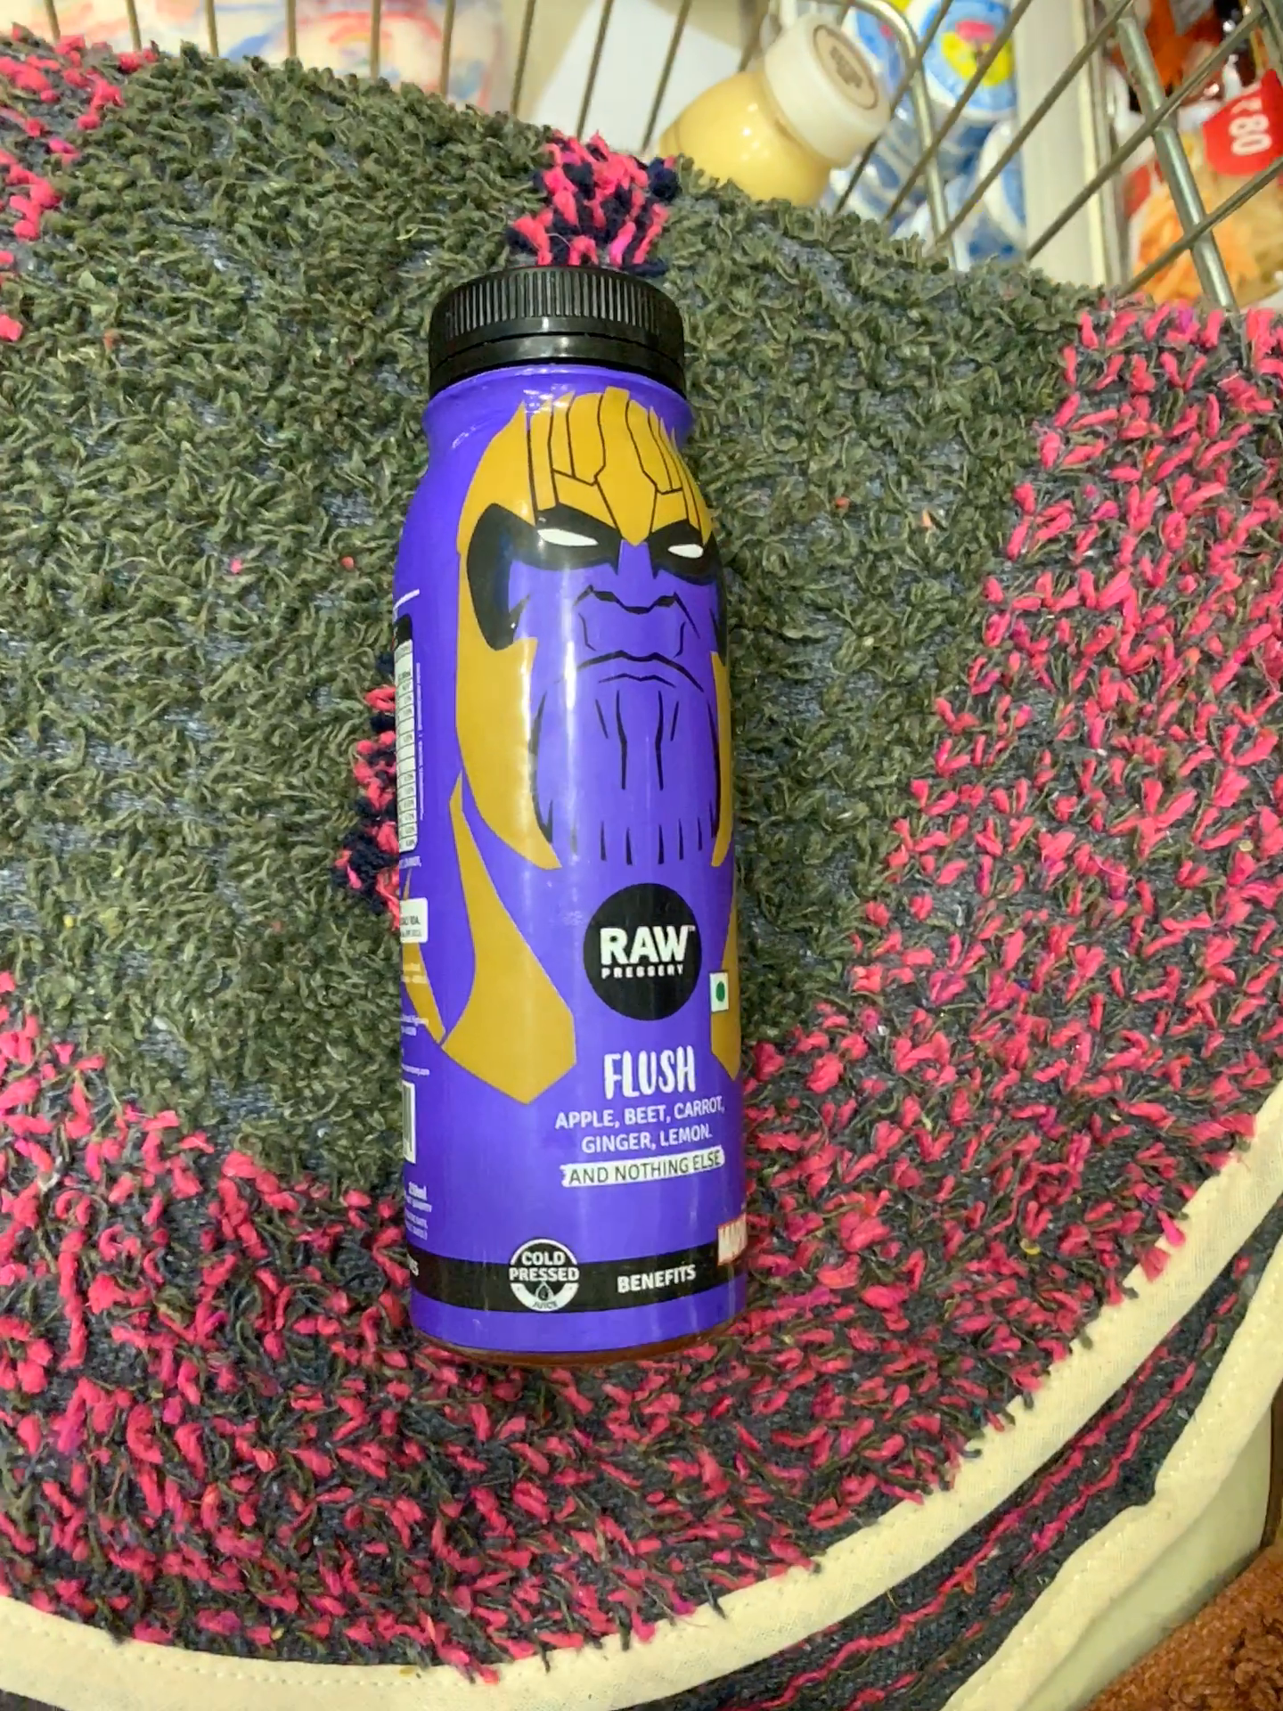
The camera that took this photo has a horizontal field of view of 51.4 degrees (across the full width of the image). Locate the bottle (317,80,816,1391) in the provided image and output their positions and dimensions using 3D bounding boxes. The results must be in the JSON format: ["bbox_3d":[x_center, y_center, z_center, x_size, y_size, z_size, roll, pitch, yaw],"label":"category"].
[{"bbox_3d":[-0.015,-0.017,0.204,0.060,0.050,0.170,0,84,-21],"label":"bottle"}]
